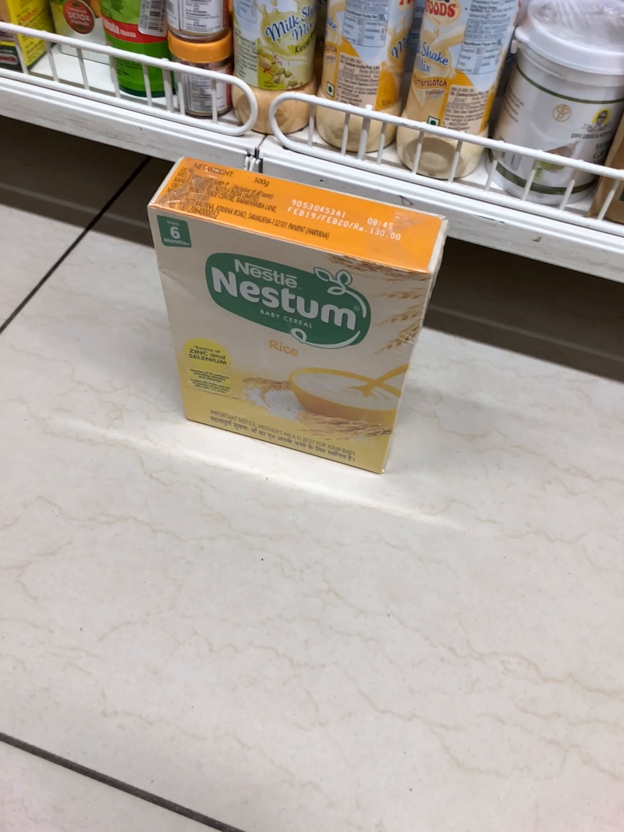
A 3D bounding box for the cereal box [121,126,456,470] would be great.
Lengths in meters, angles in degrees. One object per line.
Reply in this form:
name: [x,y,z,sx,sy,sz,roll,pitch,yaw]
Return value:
cereal box: [-0.016,-0.059,0.420,0.160,0.189,0.050,15,54,7]
